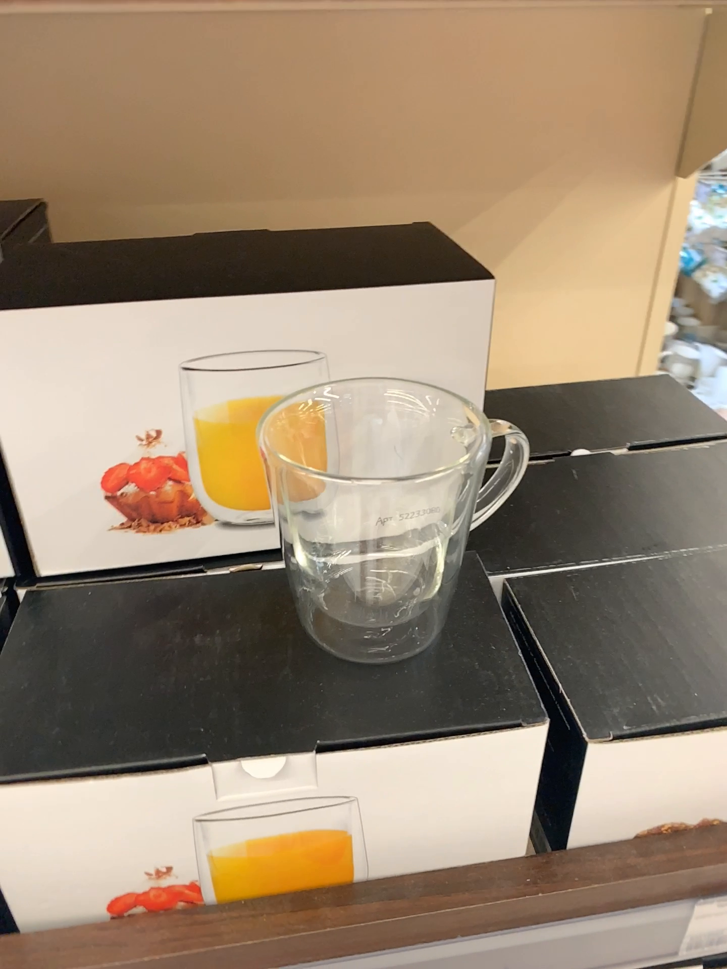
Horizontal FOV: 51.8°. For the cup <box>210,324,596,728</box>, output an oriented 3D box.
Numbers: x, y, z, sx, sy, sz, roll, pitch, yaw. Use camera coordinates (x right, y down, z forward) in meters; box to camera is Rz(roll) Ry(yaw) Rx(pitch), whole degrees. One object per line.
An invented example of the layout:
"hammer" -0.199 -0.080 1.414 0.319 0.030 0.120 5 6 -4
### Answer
"cup" 0.015 0.007 0.271 0.110 0.090 0.070 -25 40 -35
